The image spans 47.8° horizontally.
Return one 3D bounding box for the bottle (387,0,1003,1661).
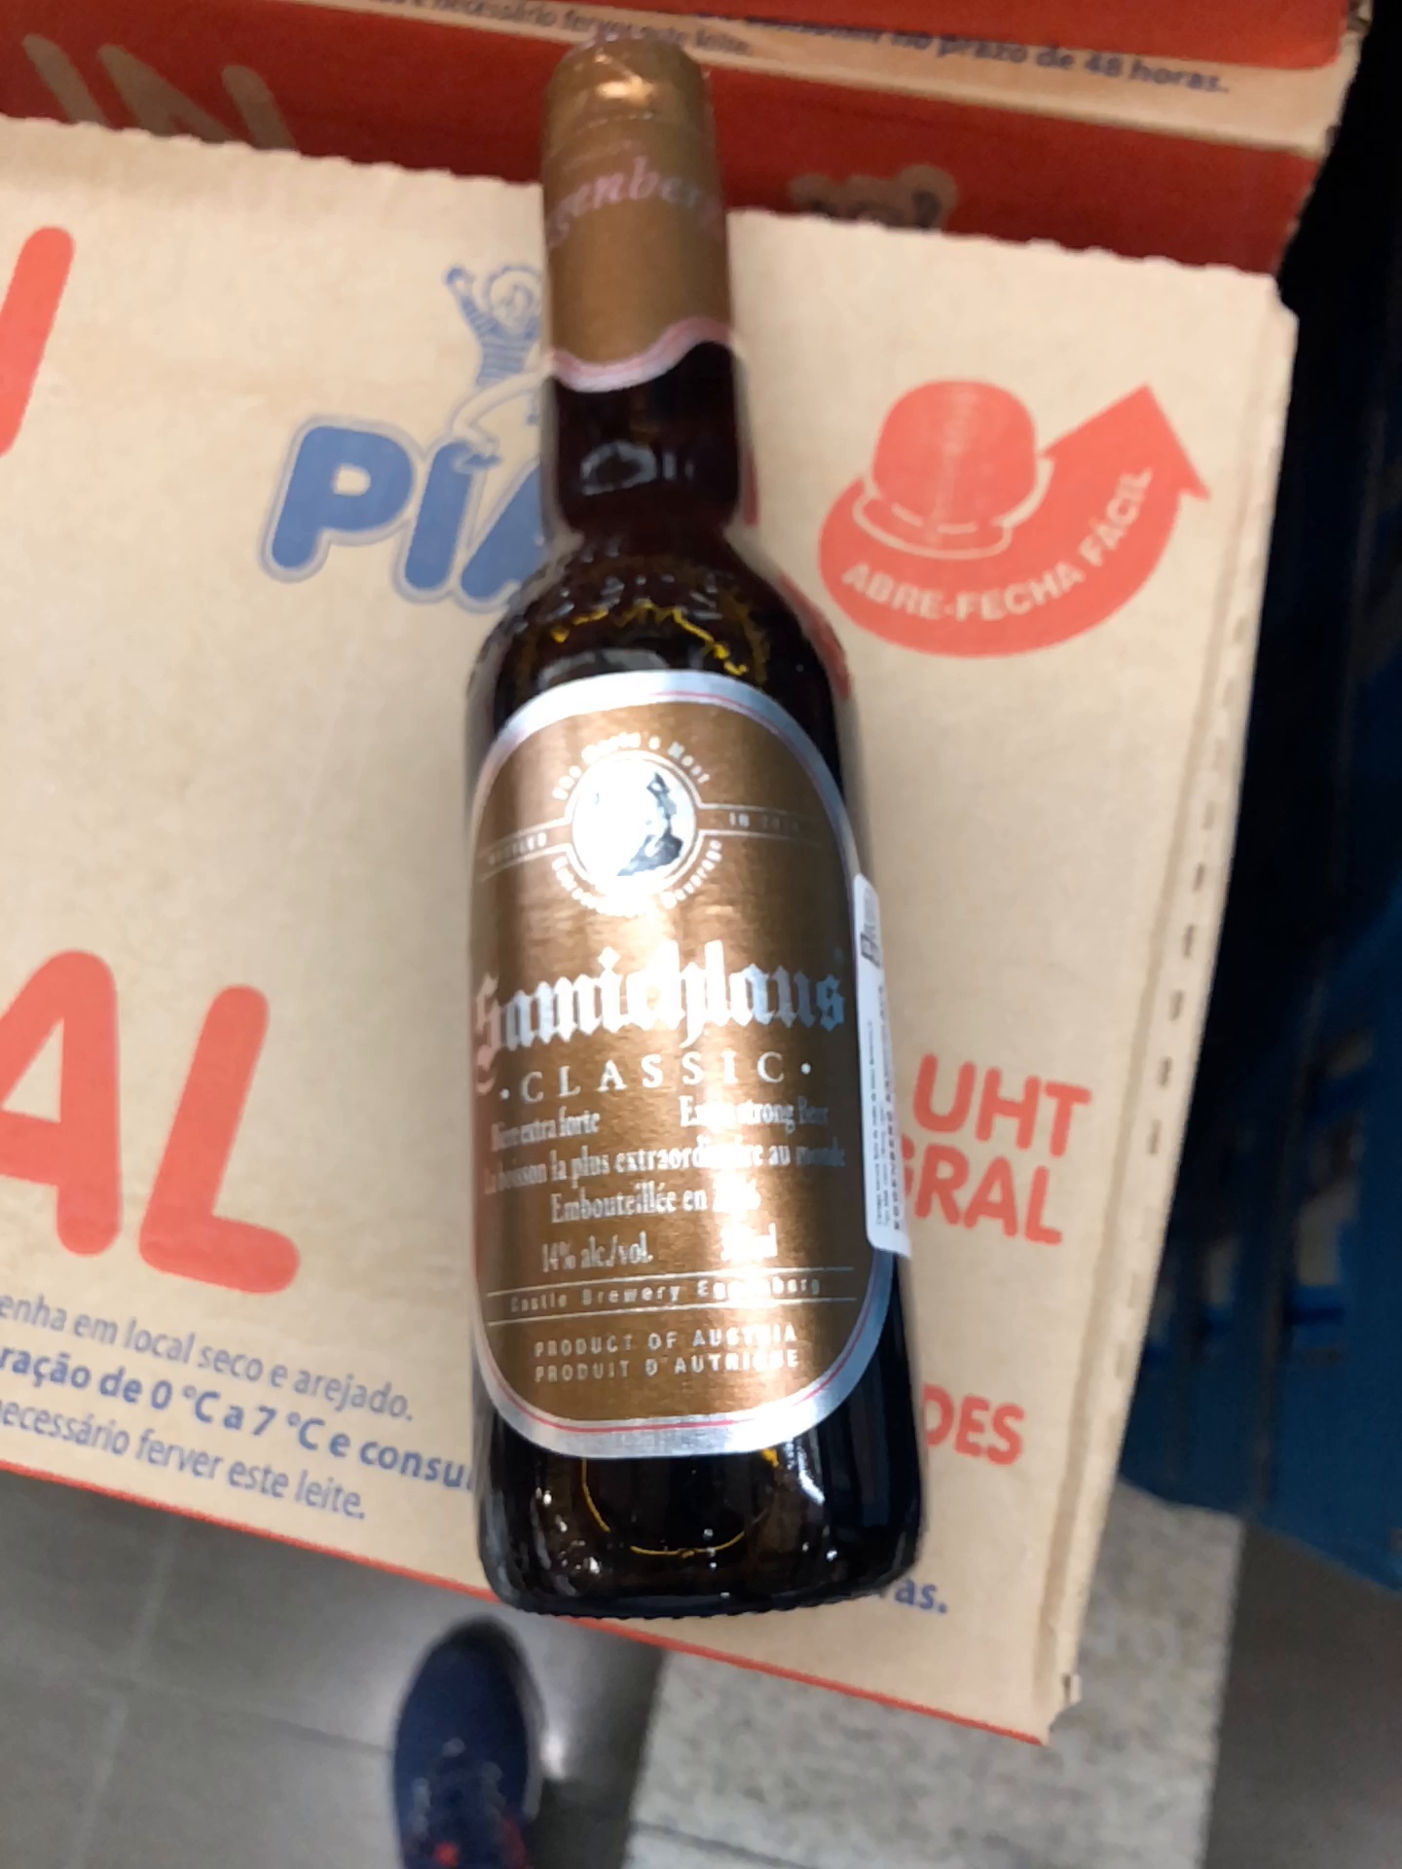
[{"bbox_3d":[-0.005,-0.040,0.221,0.060,0.050,0.250,-5,75,4],"label":"bottle"}]
